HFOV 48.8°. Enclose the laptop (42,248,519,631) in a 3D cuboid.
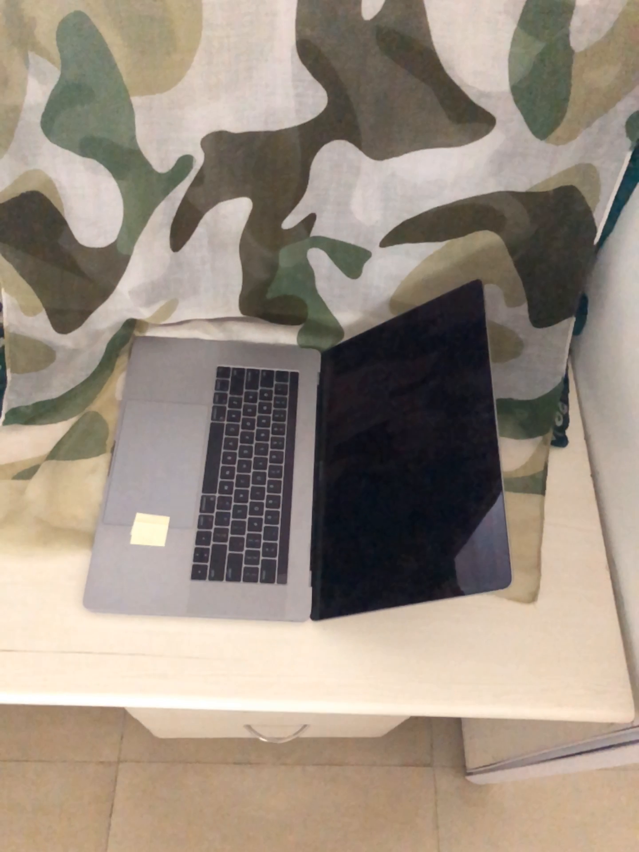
[{"bbox_3d":[-0.033,0.013,0.750,0.402,0.166,0.342,4,60,-2],"label":"laptop"}]
